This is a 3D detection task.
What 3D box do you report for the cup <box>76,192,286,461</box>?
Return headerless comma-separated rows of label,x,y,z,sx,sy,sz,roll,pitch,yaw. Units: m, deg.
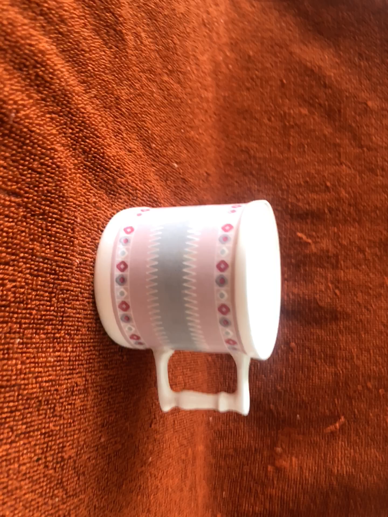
cup,-0.002,0.021,0.184,0.060,0.070,0.090,-7,98,-70
